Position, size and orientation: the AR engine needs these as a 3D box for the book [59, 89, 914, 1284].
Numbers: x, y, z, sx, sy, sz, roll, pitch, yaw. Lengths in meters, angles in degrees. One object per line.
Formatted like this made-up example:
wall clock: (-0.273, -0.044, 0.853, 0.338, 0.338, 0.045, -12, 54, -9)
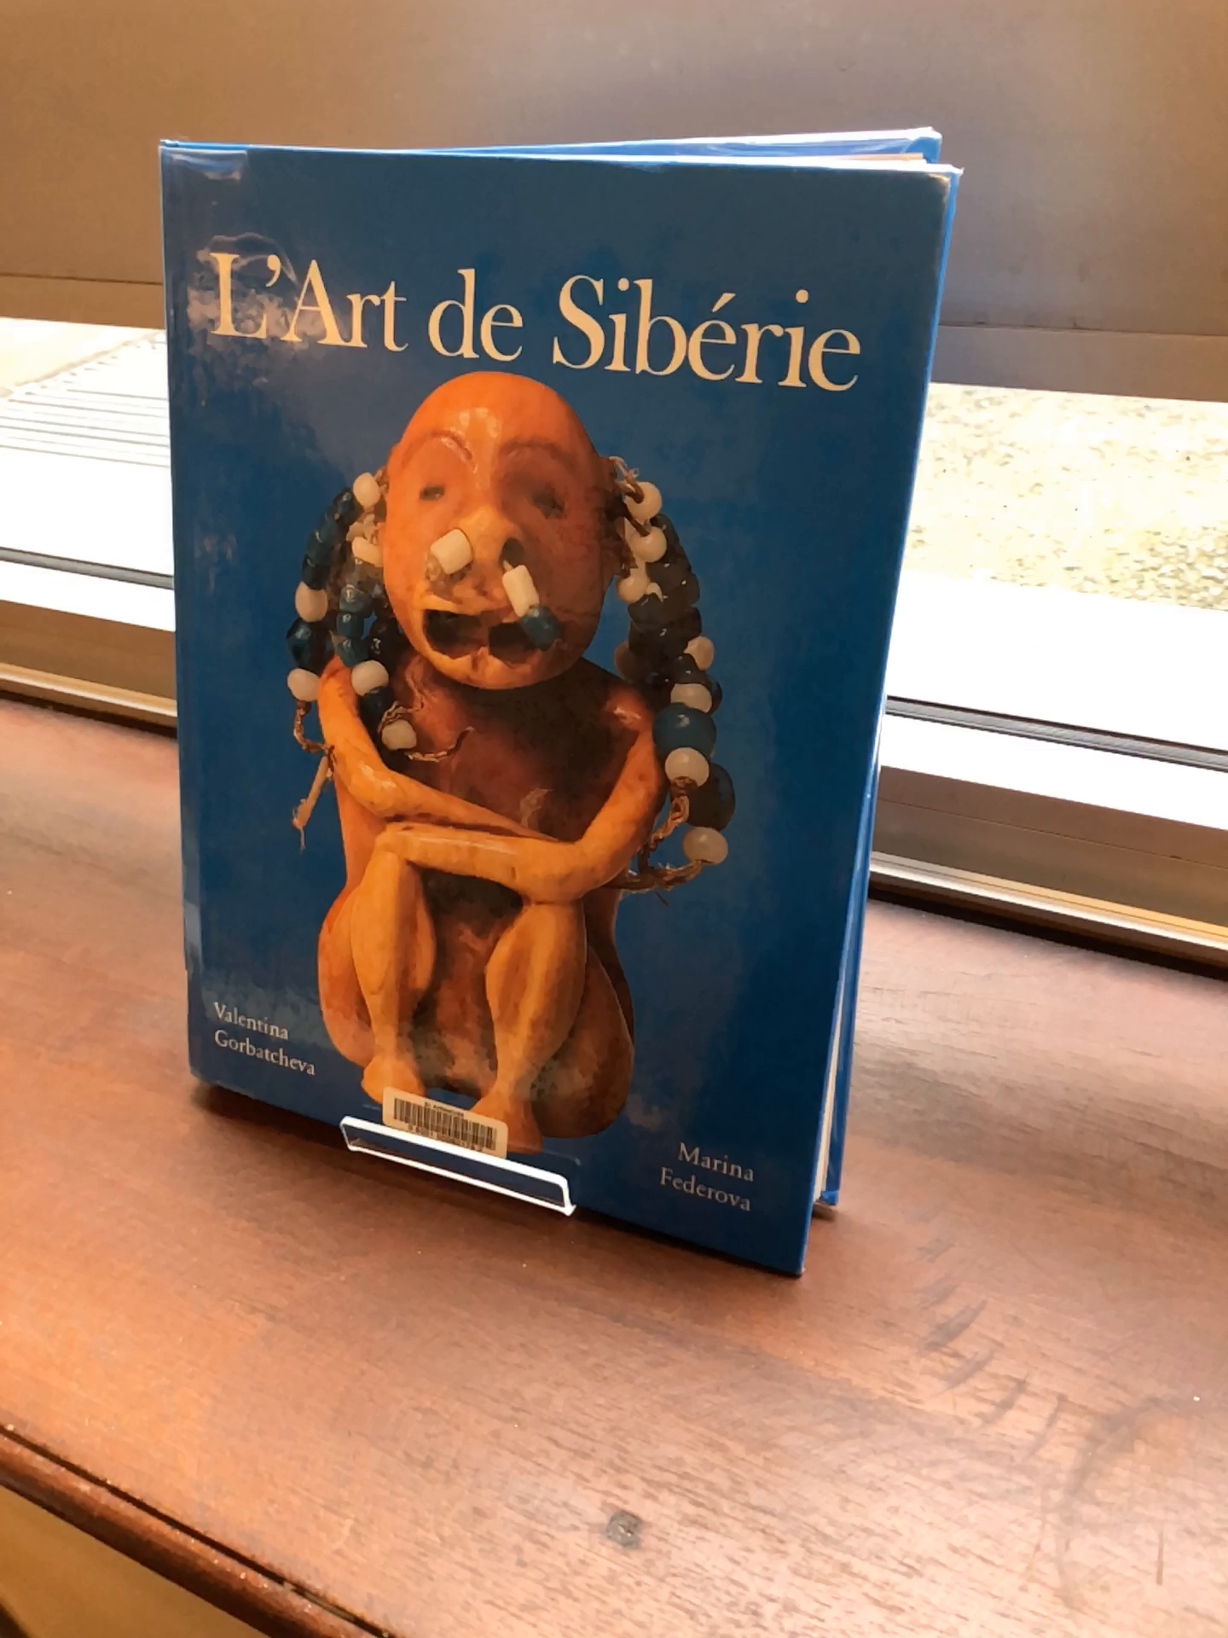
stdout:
book: (-0.049, -0.038, 0.448, 0.253, 0.349, 0.044, 9, 21, 21)
